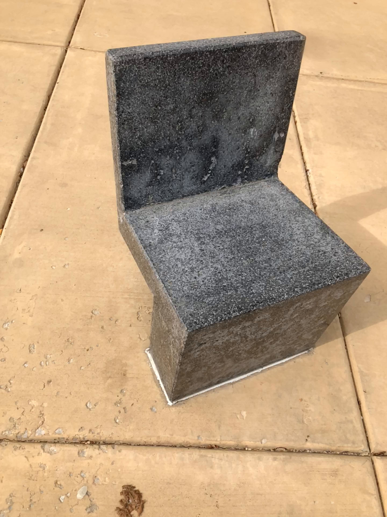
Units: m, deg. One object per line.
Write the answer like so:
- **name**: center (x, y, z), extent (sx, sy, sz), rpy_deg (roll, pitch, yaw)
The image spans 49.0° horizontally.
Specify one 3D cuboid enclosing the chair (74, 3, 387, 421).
- **chair**: center (0.088, -0.122, 1.096), extent (0.570, 0.799, 0.561), rpy_deg (-15, 48, -22)
